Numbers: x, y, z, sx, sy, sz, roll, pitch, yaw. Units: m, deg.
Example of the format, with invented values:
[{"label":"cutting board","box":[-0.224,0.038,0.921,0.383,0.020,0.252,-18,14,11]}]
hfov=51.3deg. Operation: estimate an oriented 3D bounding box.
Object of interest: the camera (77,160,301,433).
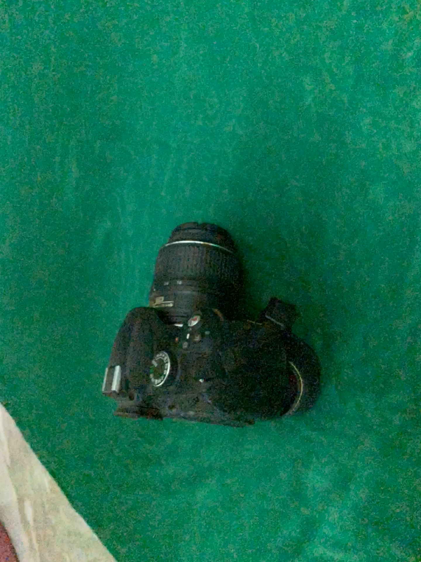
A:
[{"label":"camera","box":[-0.018,0.027,0.338,0.134,0.099,0.166,-20,62,48]}]
